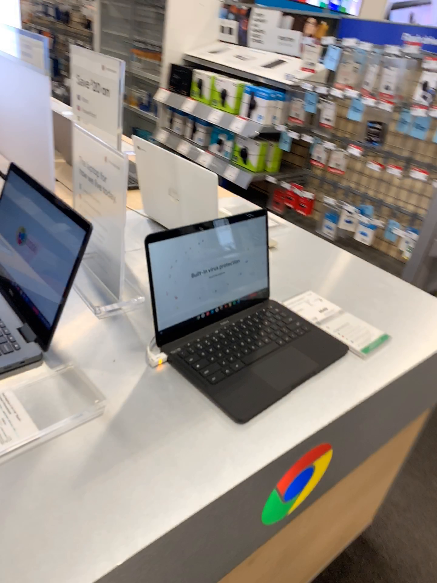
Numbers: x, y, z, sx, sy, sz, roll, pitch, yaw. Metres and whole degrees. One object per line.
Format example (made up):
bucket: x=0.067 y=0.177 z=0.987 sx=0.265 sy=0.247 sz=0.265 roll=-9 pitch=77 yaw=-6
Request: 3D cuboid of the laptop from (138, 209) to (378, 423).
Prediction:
laptop: x=0.063 y=0.012 z=0.759 sx=0.294 sy=0.180 sz=0.254 roll=-21 pitch=43 yaw=-40
